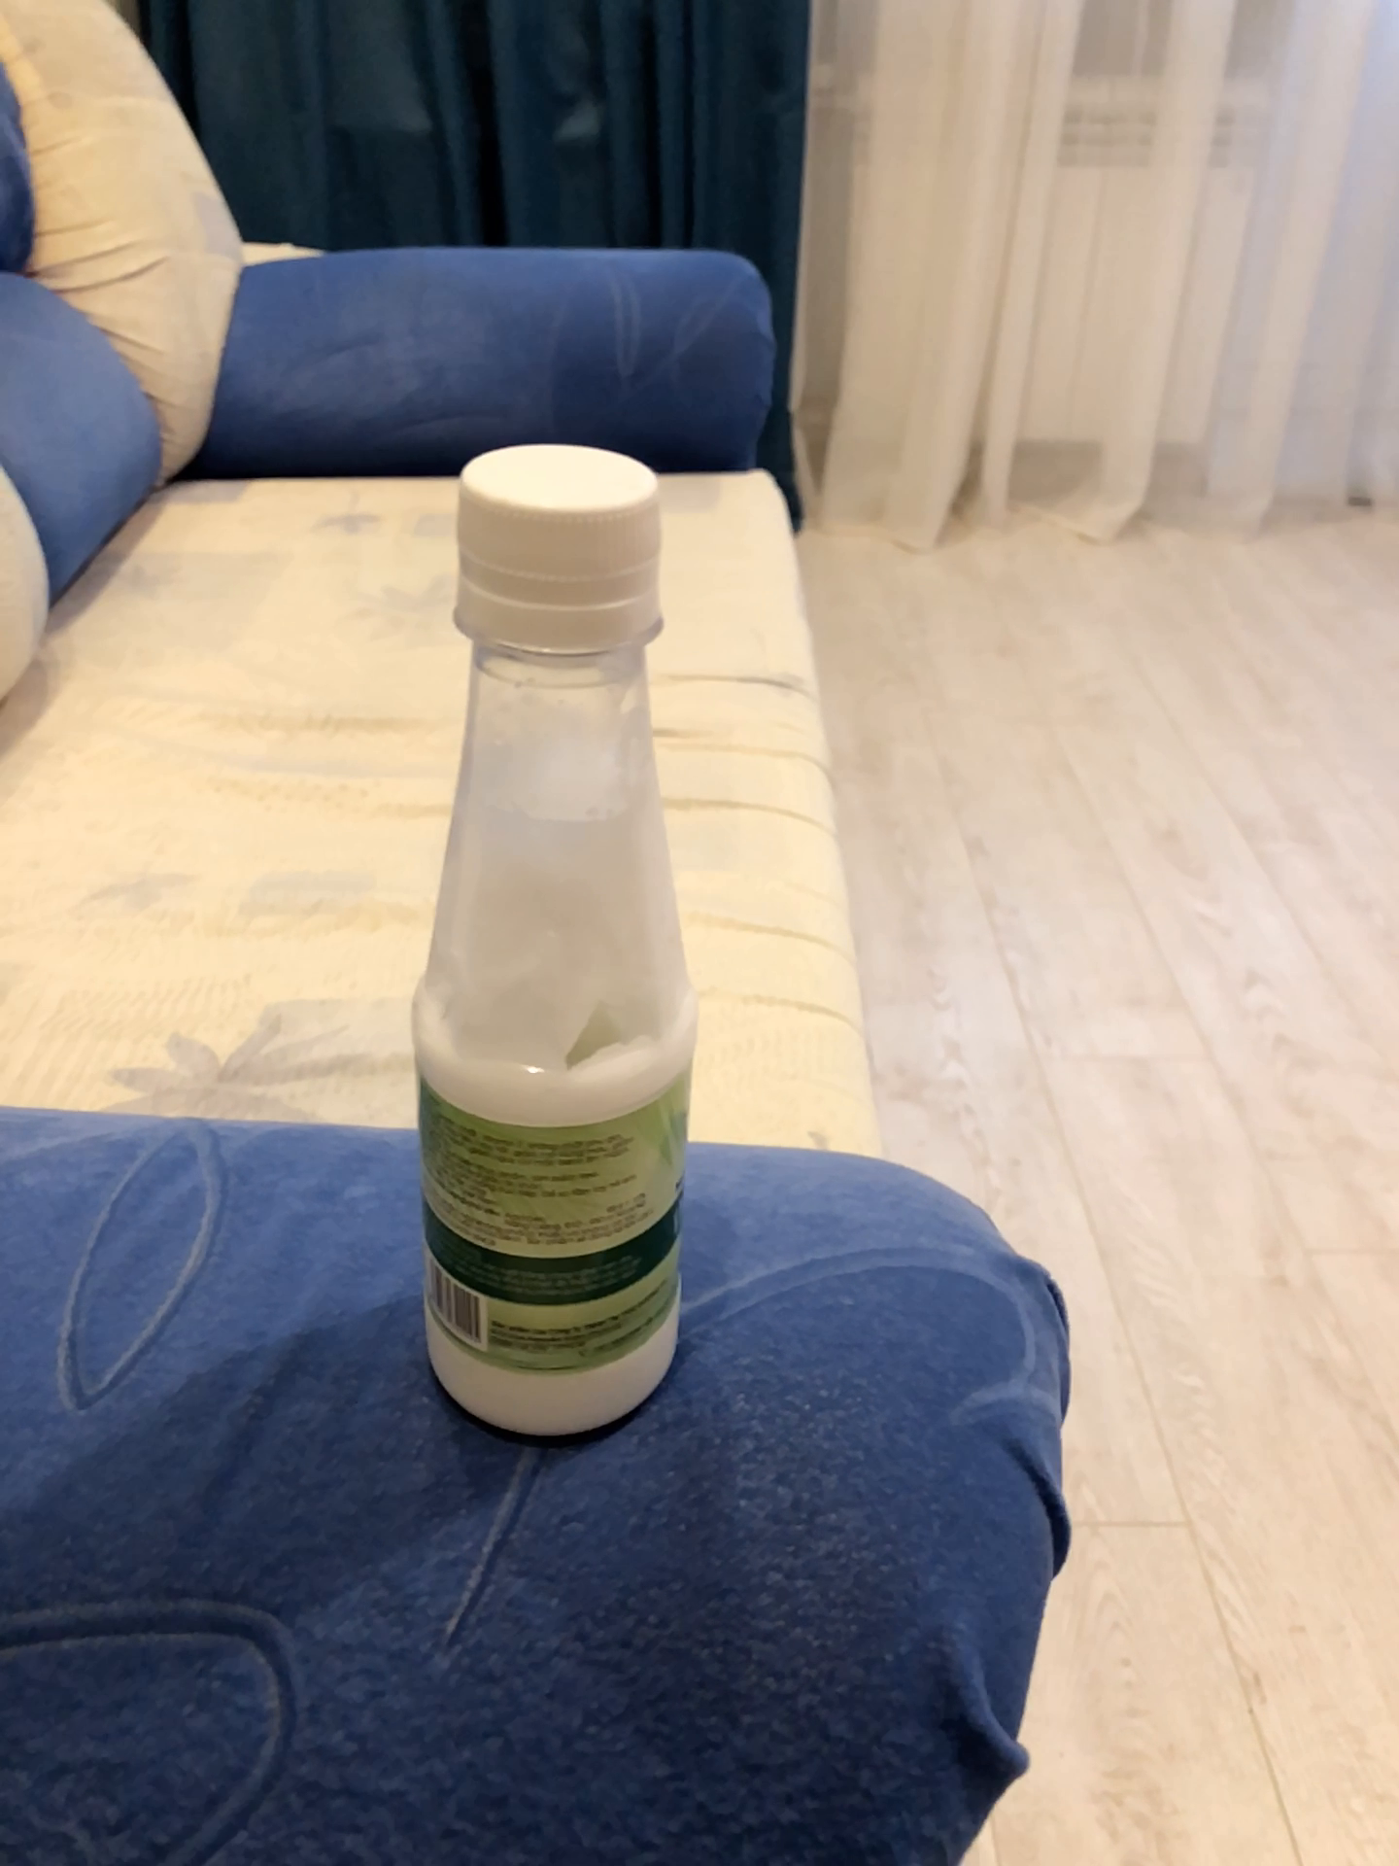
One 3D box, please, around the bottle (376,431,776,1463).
[{"bbox_3d":[-0.024,0.010,0.276,0.054,0.183,0.051,2,32,-1],"label":"bottle"}]
